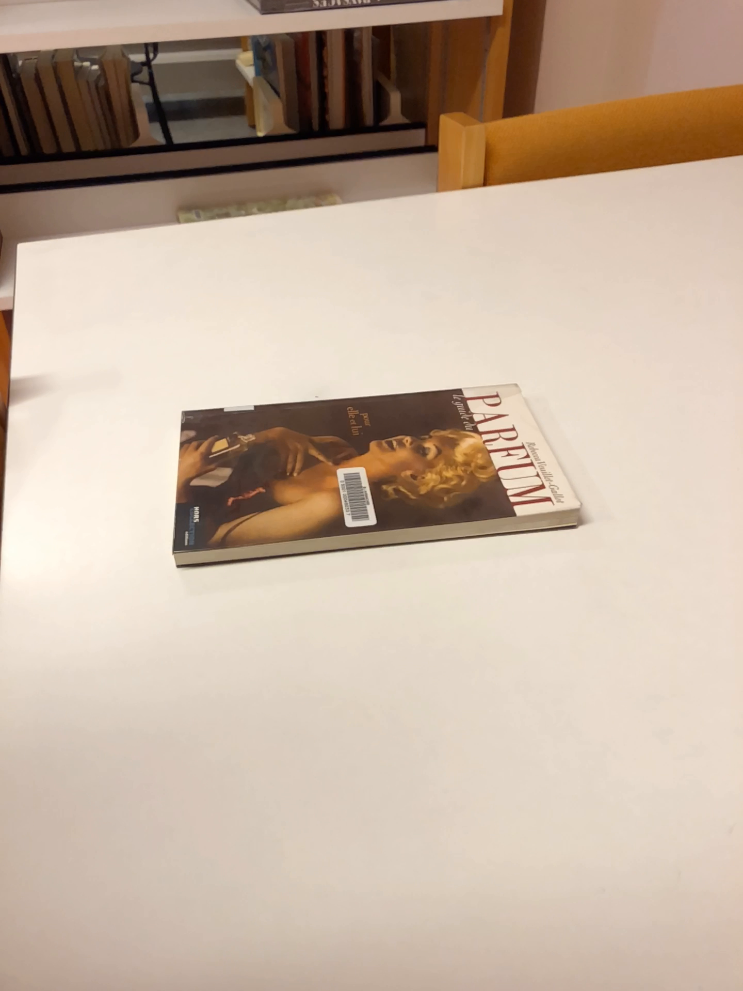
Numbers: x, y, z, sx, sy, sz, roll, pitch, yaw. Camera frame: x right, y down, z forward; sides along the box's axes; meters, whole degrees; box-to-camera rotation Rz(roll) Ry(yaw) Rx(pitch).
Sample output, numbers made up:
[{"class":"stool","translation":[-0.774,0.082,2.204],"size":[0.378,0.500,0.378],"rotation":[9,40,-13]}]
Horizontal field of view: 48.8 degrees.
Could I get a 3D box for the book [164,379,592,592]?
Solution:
[{"class":"book","translation":[-0.003,-0.013,0.454],"size":[0.210,0.020,0.134],"rotation":[-6,39,-7]}]
